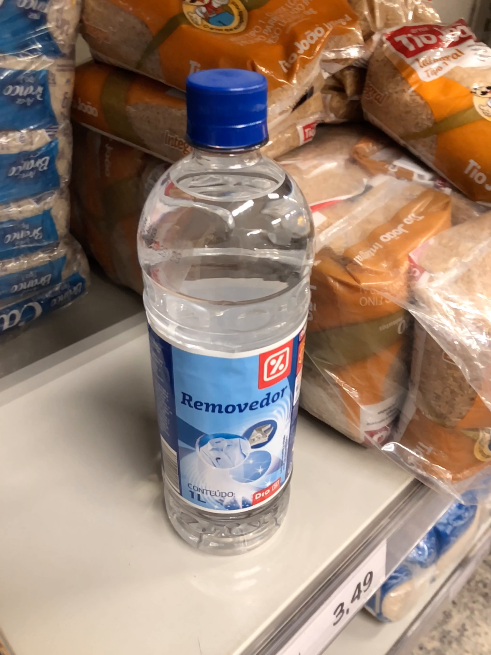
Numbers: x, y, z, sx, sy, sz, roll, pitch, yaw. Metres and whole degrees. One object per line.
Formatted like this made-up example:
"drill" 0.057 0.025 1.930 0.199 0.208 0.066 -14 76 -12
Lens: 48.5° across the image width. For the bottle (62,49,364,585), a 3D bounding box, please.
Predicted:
"bottle" -0.009 0.015 0.277 0.080 0.258 0.091 13 41 13
